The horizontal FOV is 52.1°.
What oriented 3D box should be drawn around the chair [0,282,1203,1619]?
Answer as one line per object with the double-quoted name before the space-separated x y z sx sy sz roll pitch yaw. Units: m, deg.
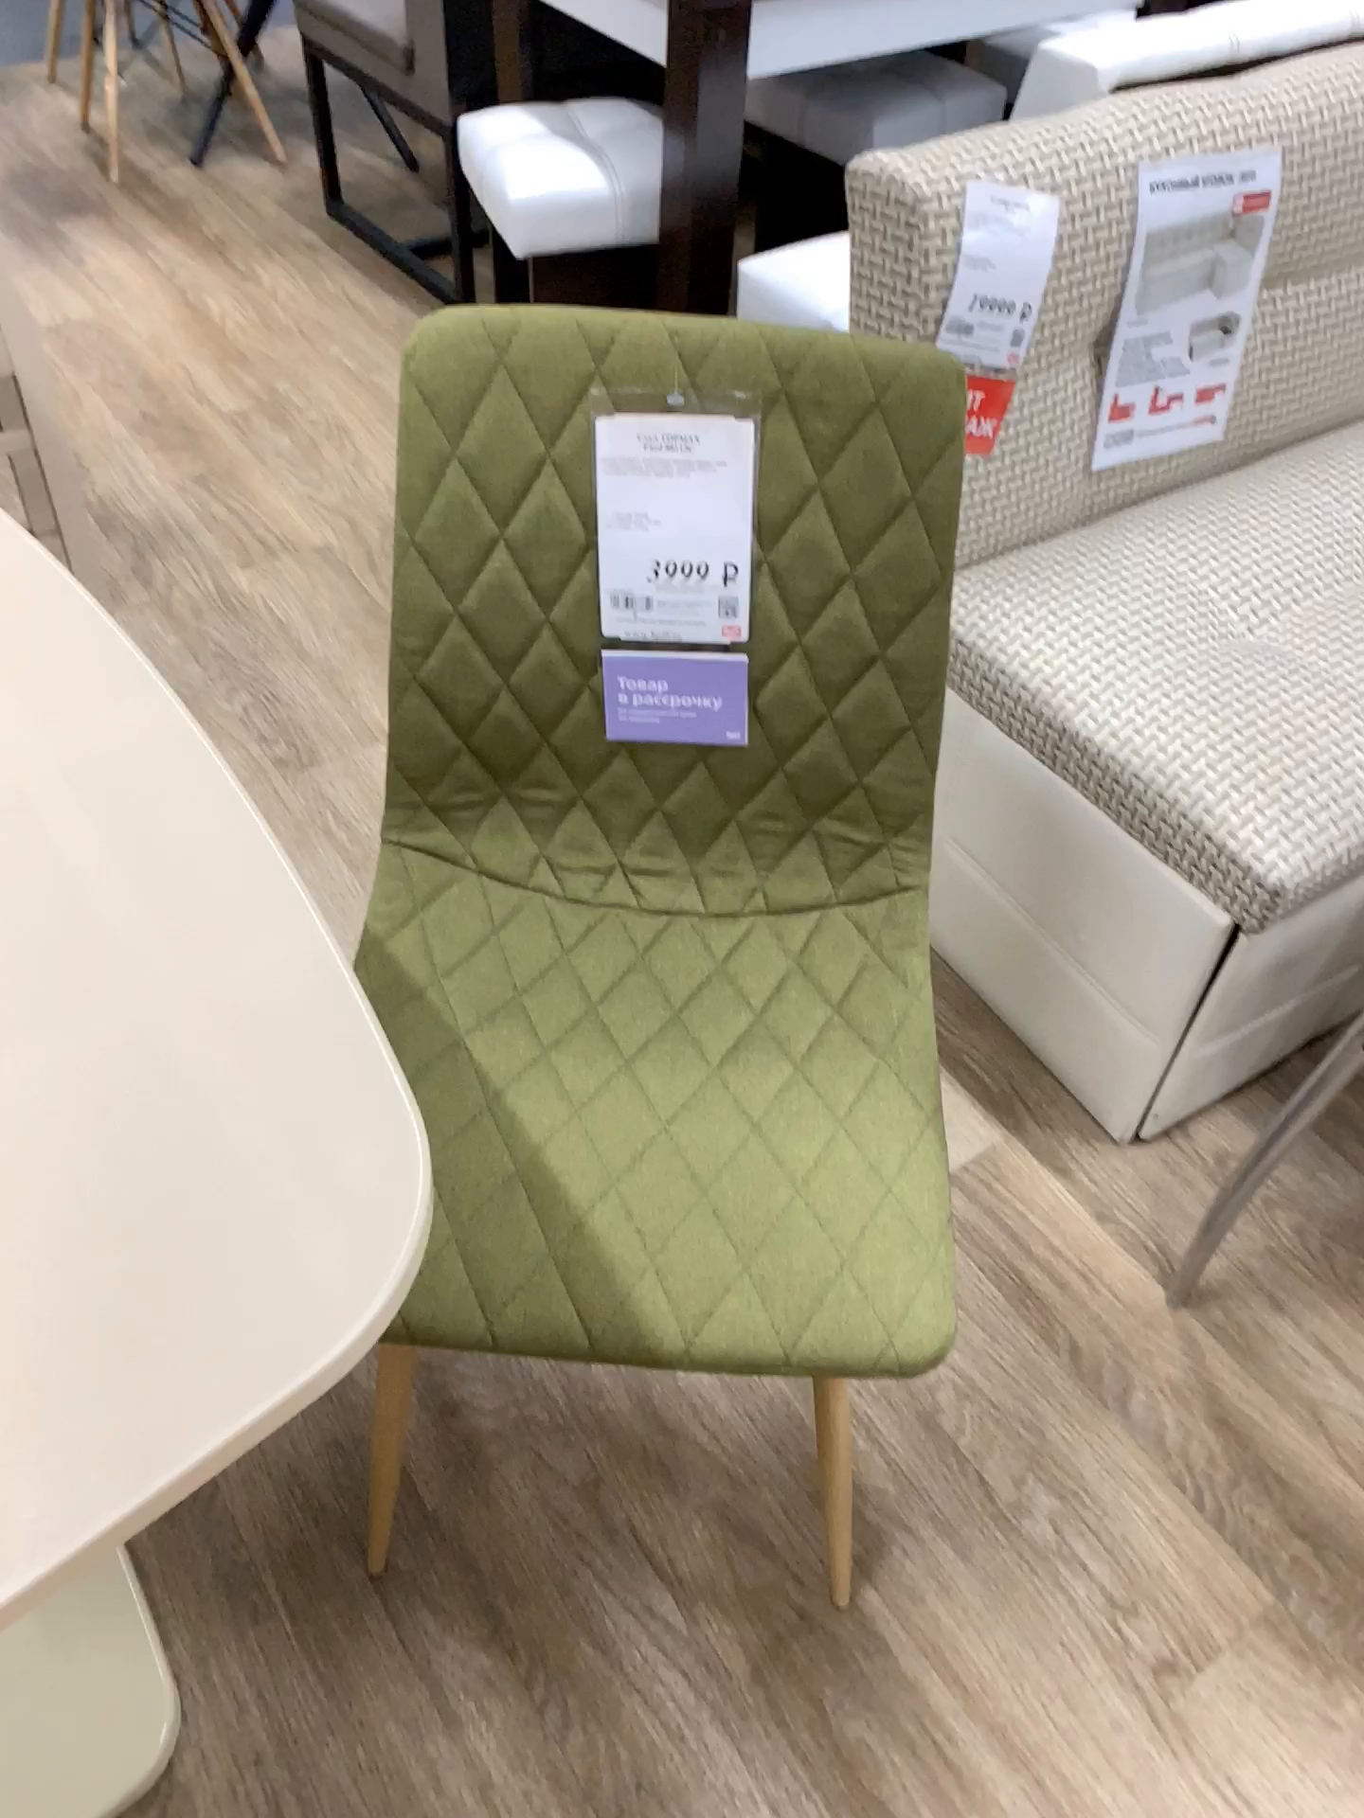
"chair" -0.042 0.083 1.052 0.500 0.836 0.563 4 47 1
